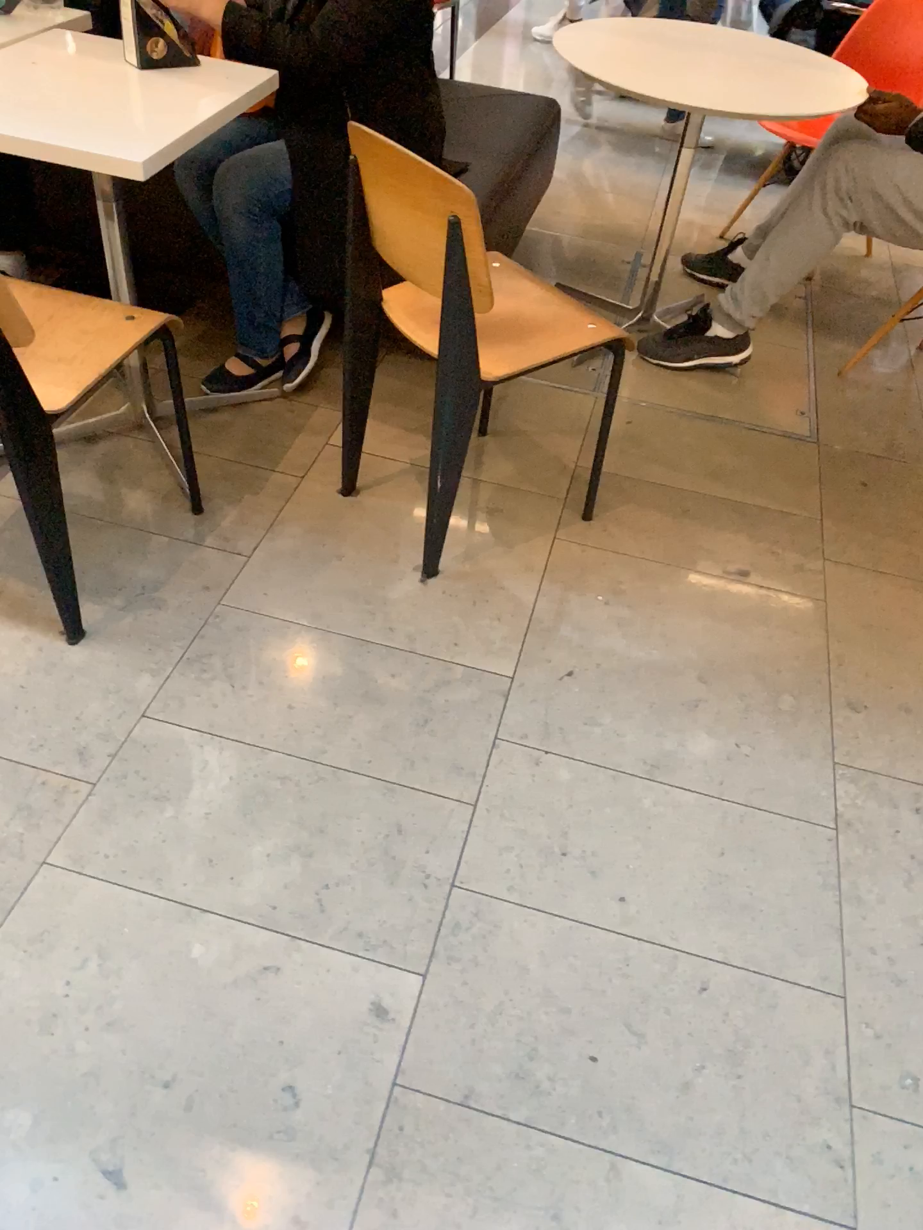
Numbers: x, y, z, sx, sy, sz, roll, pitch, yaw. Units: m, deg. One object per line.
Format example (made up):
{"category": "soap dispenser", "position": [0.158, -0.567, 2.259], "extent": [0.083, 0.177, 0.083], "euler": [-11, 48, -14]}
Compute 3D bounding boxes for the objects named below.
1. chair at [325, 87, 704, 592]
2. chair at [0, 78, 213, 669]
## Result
{"category": "chair", "position": [0.054, -0.537, 1.854], "extent": [0.496, 0.767, 0.420], "euler": [-25, 52, -30]}
{"category": "chair", "position": [-0.767, -0.396, 1.607], "extent": [0.427, 0.767, 0.499], "euler": [15, 44, 7]}
